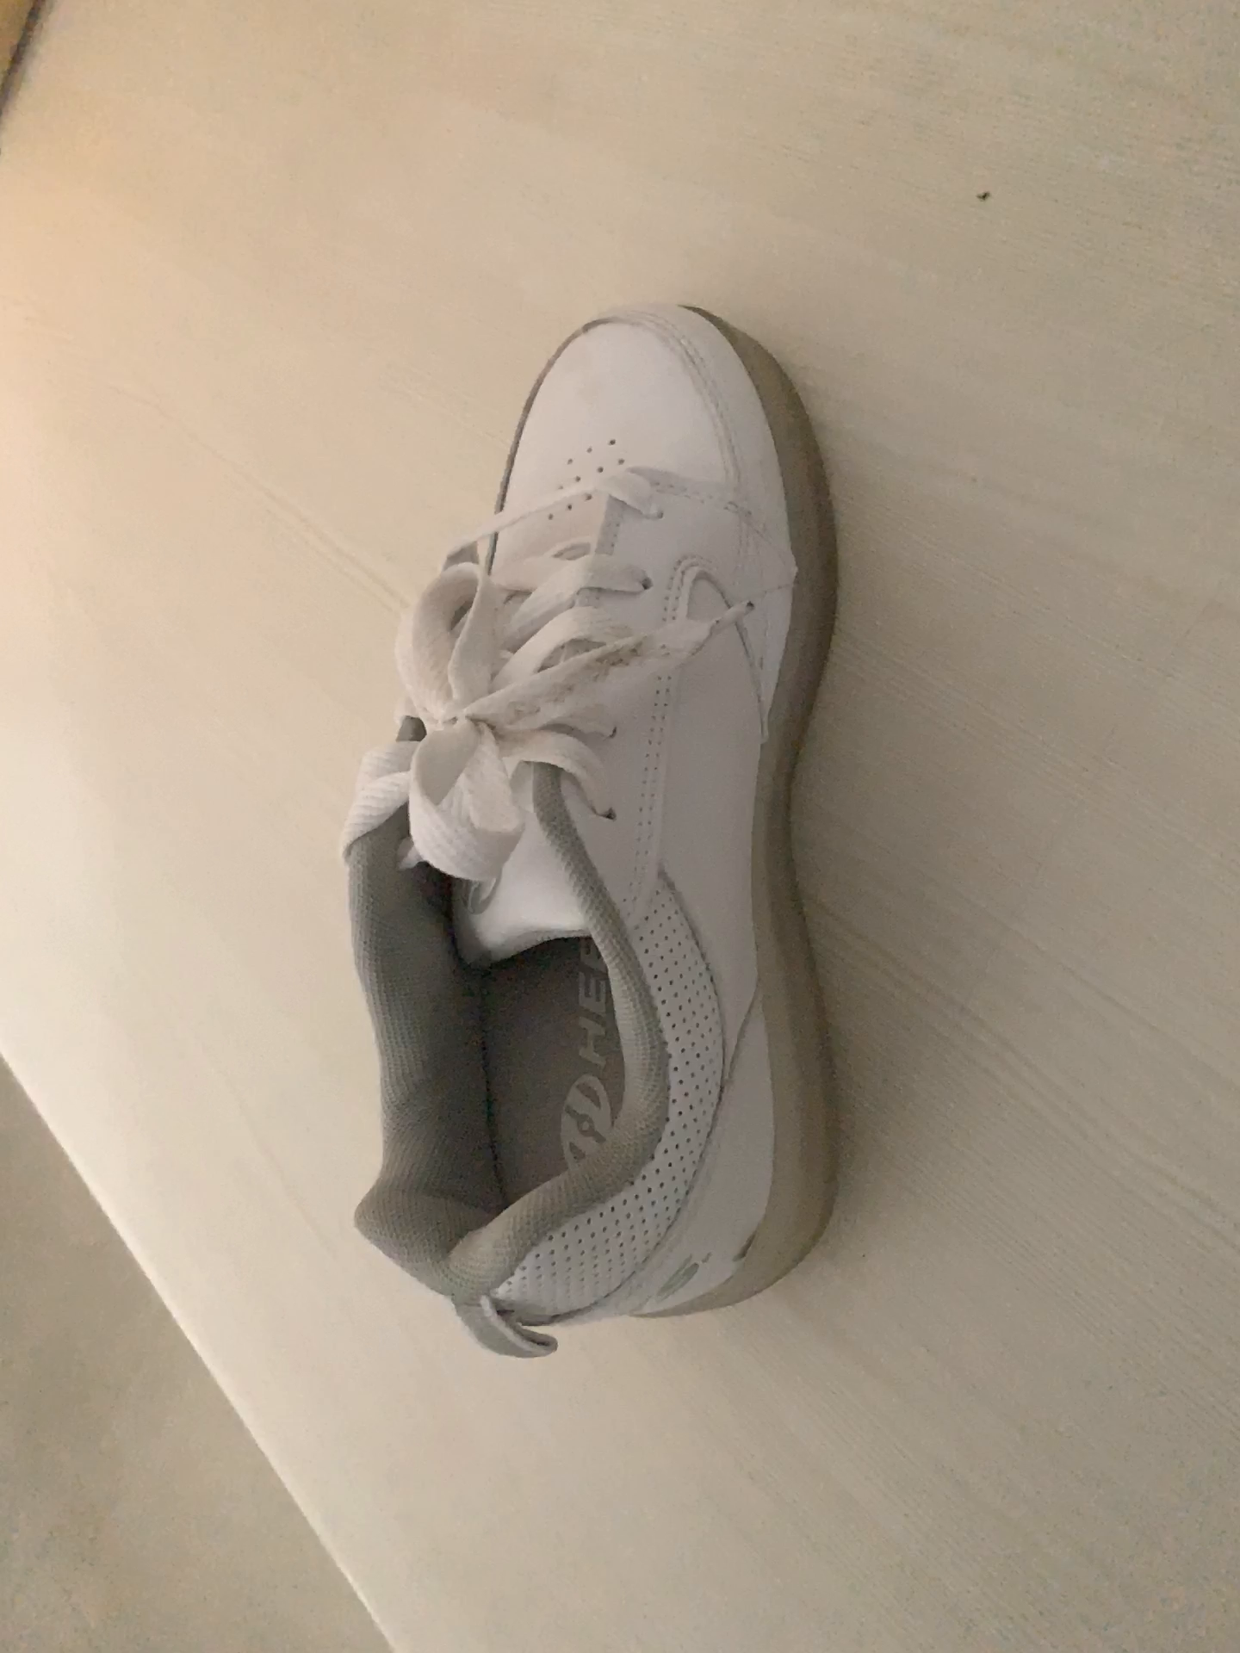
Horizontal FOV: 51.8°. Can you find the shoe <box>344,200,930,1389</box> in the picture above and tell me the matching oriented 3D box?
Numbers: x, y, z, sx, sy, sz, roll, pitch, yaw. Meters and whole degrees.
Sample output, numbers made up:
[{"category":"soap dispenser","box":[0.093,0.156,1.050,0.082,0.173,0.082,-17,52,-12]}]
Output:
[{"category":"shoe","box":[0.005,-0.004,0.300,0.090,0.090,0.230,-10,74,34]}]
